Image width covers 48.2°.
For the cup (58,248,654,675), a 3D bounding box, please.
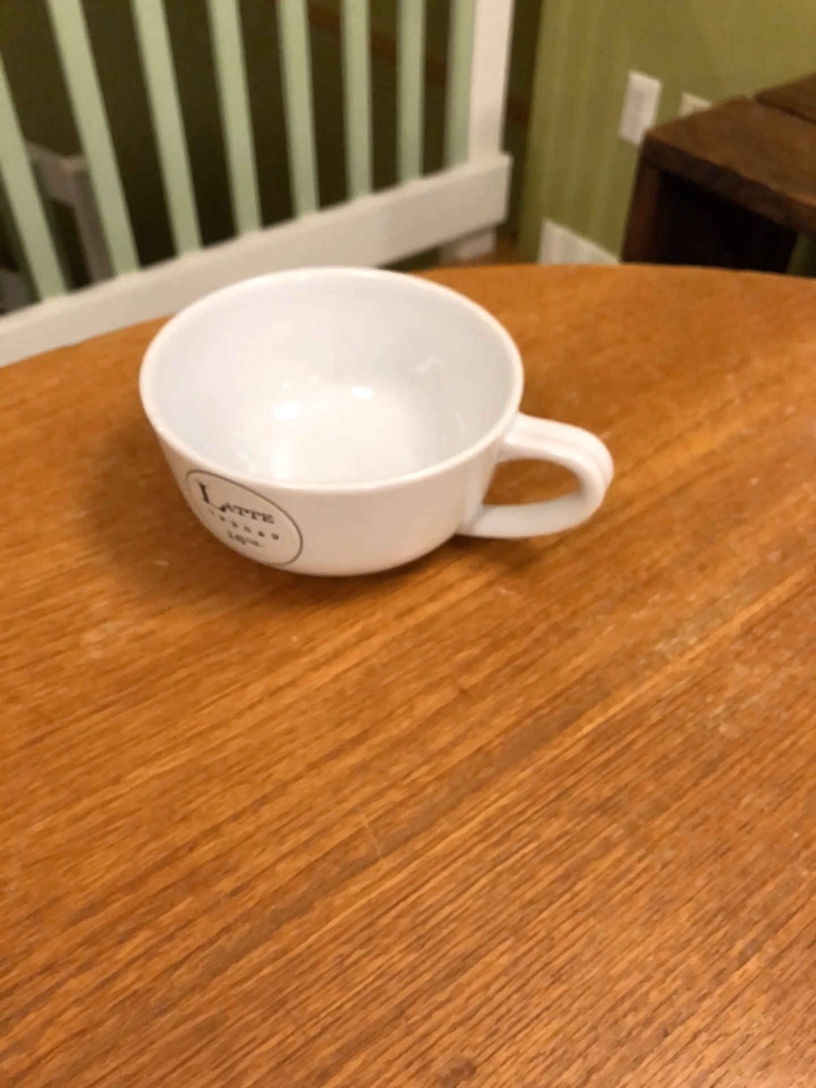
[{"bbox_3d":[-0.008,-0.041,0.344,0.179,0.055,0.139,11,46,10],"label":"cup"}]
